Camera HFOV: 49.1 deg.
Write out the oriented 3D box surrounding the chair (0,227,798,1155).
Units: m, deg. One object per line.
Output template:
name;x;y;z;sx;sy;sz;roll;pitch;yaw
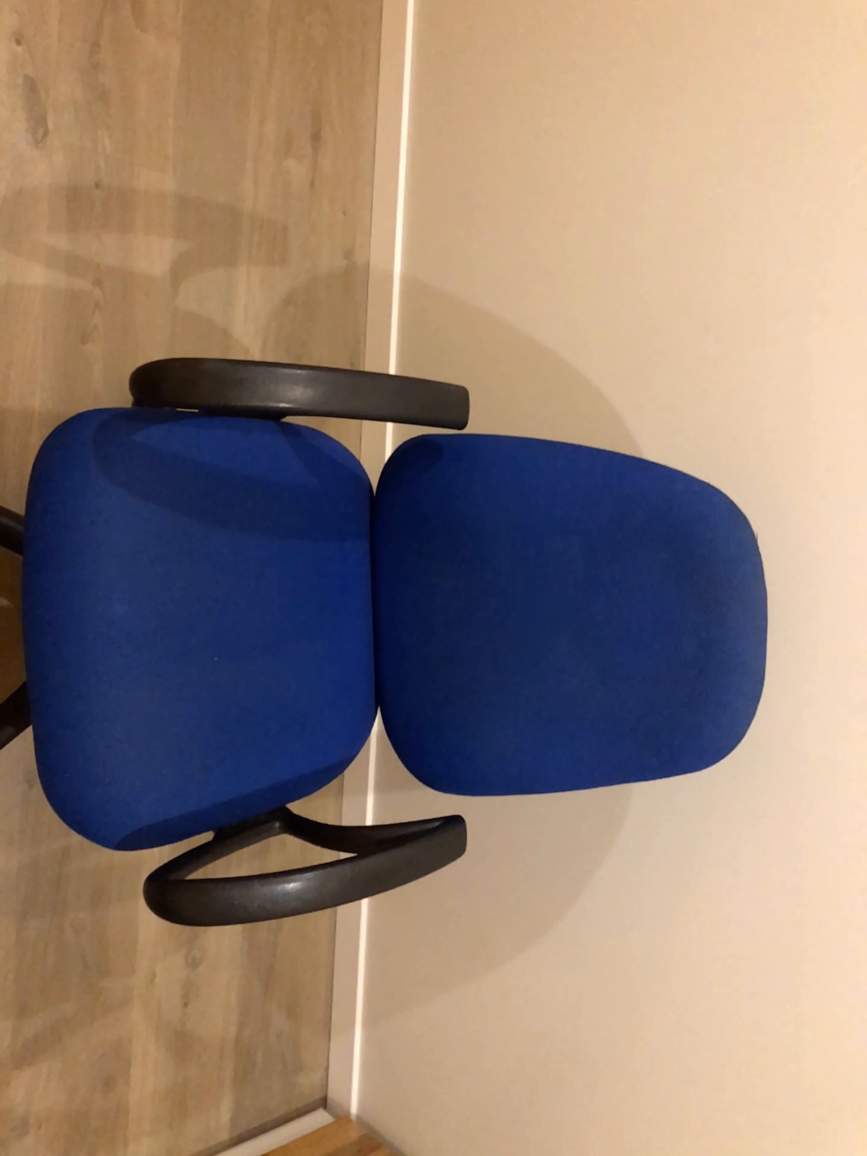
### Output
chair;-0.156;0.063;1.181;0.704;0.905;0.696;-8;99;-41
